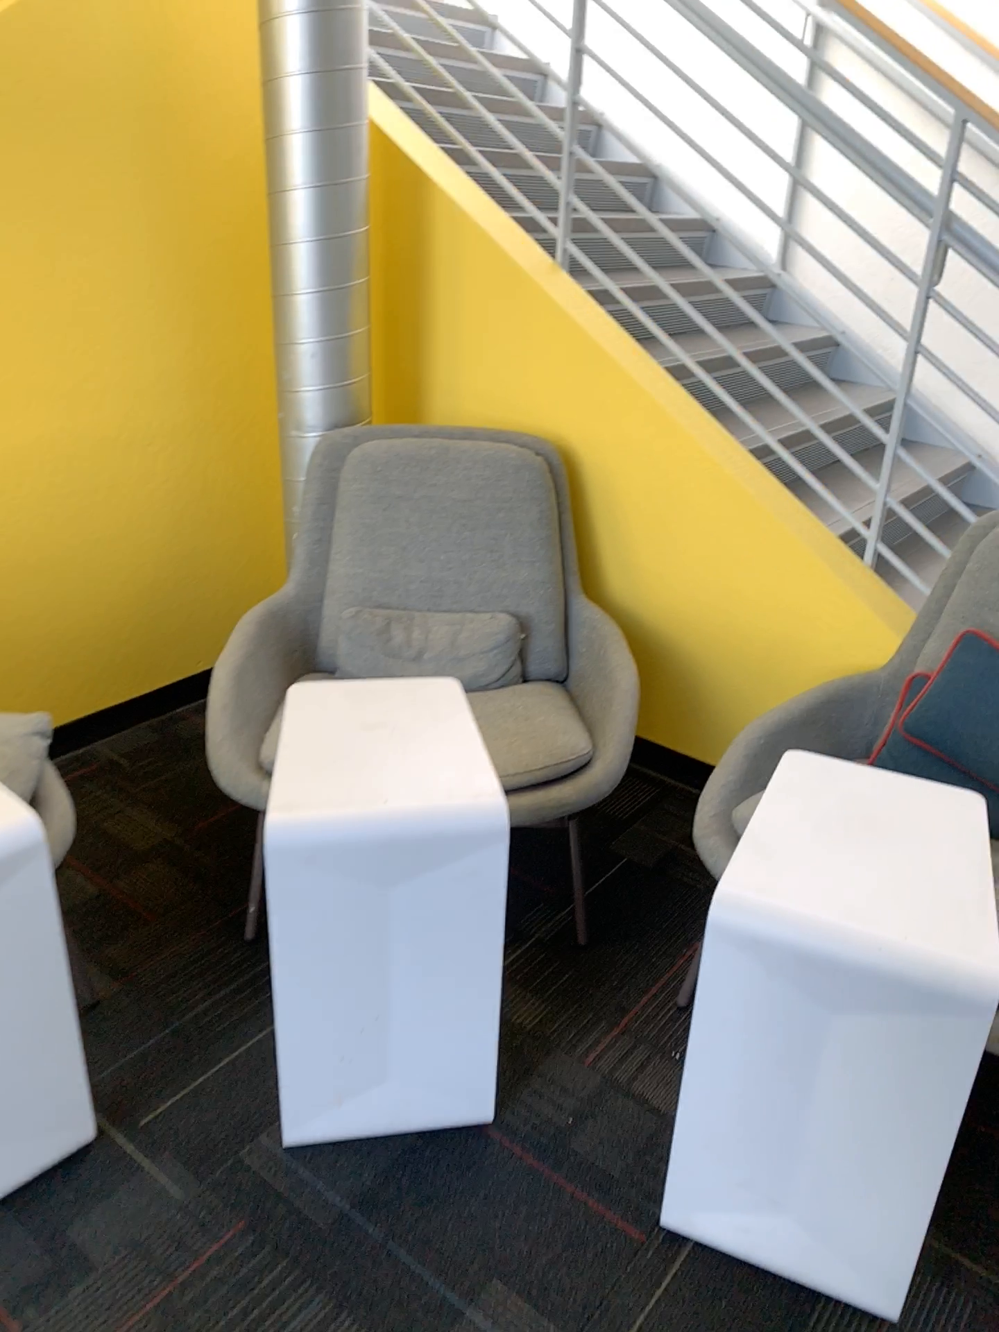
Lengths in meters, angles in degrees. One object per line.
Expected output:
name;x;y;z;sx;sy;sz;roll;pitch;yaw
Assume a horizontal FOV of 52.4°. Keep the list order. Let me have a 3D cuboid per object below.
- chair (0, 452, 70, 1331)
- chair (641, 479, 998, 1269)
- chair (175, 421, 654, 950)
chair;-1.341;0.260;1.513;0.872;0.925;0.802;13;26;27
chair;0.946;0.239;1.933;0.880;0.945;0.874;-14;28;-39
chair;-0.189;-0.009;2.470;0.890;1.015;0.844;0;22;-4
